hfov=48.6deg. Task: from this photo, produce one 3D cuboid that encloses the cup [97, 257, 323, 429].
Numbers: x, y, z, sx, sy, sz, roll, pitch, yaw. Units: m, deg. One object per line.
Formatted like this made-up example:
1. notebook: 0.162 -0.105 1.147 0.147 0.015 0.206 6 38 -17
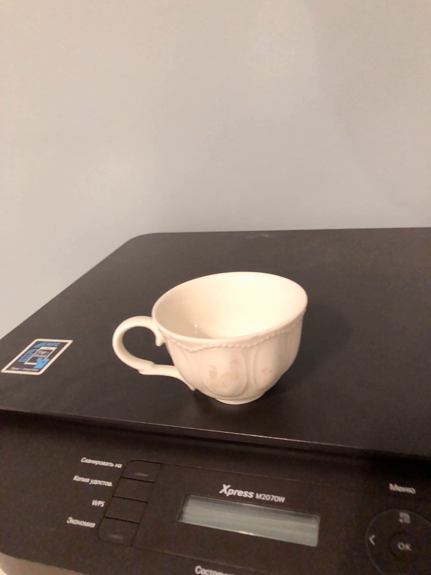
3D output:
1. cup: -0.003 0.023 0.240 0.094 0.044 0.076 -6 24 -2
